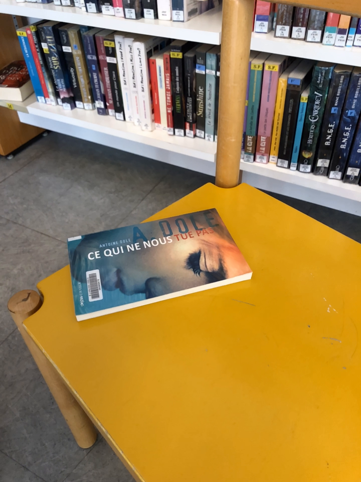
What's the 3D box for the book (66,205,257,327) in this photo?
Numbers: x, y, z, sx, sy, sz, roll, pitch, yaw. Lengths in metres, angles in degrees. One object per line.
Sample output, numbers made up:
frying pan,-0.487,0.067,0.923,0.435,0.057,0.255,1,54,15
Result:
book,-0.030,0.021,0.503,0.212,0.016,0.141,-12,44,-11
